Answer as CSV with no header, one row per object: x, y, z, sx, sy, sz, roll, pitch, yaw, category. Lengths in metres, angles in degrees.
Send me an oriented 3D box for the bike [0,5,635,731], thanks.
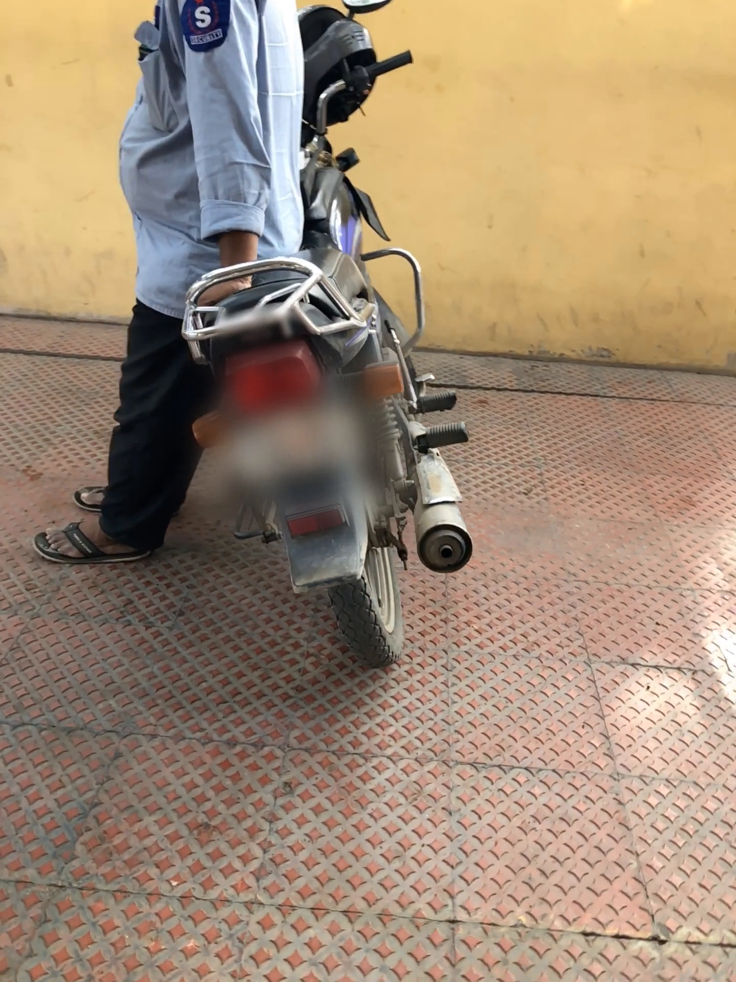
-0.294,-0.480,1.875,0.921,1.007,1.683,-2,32,-9,bike
